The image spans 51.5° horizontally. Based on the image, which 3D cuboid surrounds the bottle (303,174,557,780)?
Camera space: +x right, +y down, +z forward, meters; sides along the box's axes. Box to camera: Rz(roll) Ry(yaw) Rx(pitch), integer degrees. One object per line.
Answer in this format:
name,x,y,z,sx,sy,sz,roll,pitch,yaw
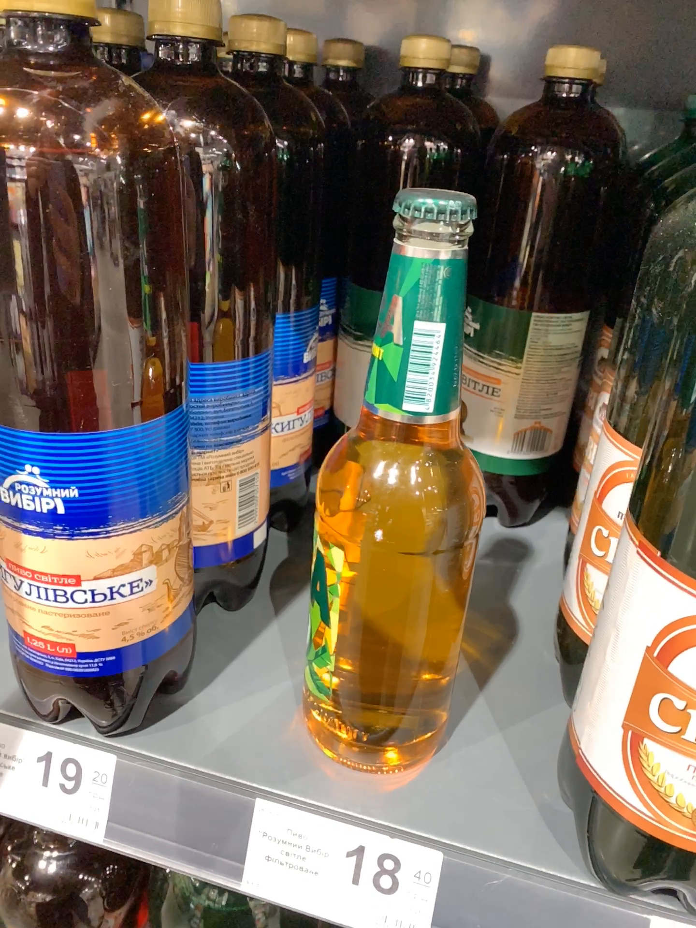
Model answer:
bottle,0.022,0.015,0.297,0.066,0.238,0.072,3,27,-2
